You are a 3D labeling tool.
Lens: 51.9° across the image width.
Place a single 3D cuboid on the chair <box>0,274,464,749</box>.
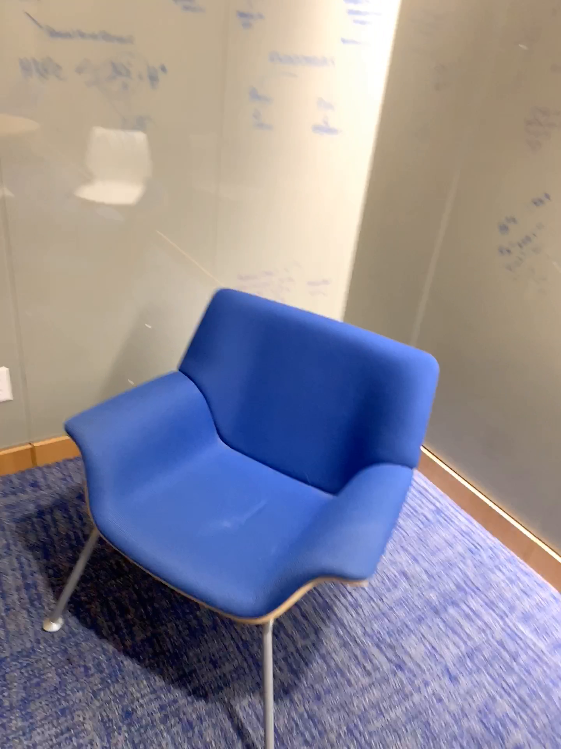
[{"bbox_3d":[-0.124,0.287,1.416,0.790,0.712,0.743,21,32,23],"label":"chair"}]
